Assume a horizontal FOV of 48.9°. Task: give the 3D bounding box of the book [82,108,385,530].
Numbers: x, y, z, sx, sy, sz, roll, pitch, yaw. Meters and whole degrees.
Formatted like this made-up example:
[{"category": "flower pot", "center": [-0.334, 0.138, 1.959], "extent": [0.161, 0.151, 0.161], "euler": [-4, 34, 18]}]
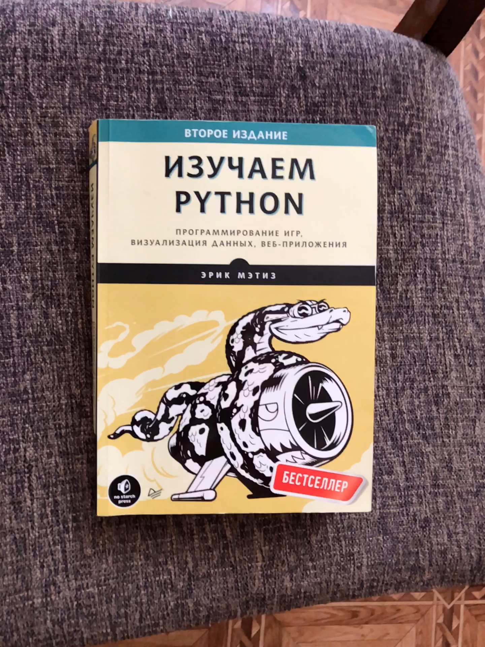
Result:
[{"category": "book", "center": [-0.003, -0.003, 0.319], "extent": [0.168, 0.040, 0.233], "euler": [1, 88, -3]}]
